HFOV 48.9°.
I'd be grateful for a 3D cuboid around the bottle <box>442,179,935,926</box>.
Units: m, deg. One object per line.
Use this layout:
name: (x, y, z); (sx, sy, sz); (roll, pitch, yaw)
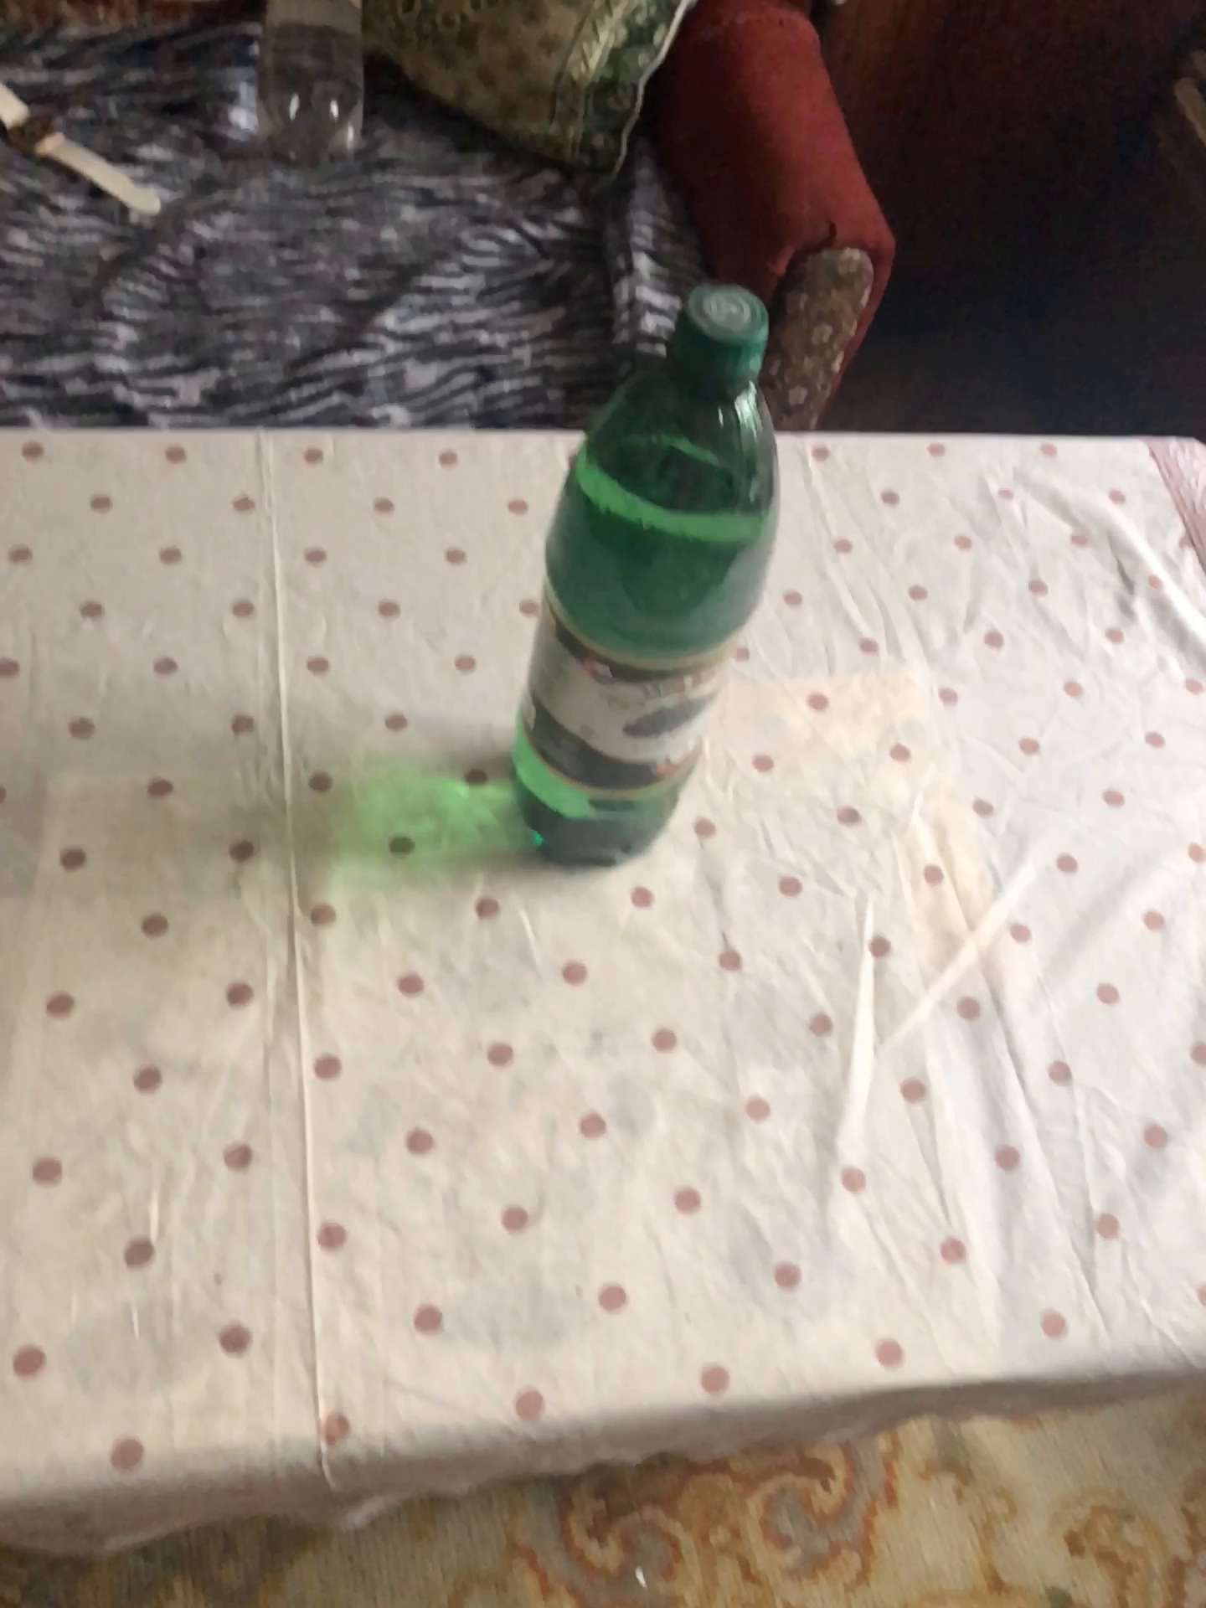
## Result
bottle: (0.013, -0.076, 0.522); (0.100, 0.279, 0.100); (4, 59, -7)
